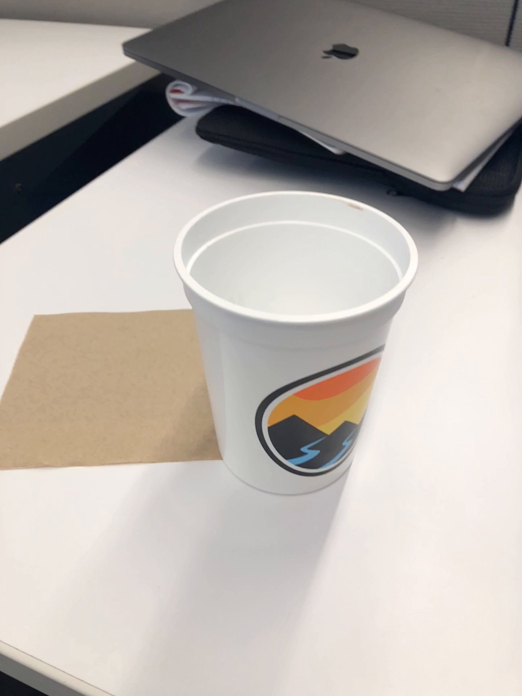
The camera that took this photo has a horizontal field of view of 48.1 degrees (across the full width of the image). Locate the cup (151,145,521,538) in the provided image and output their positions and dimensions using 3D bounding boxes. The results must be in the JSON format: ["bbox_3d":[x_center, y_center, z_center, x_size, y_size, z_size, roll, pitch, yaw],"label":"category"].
[{"bbox_3d":[0.022,-0.008,0.230,0.090,0.100,0.090,-1,39,0],"label":"cup"}]
